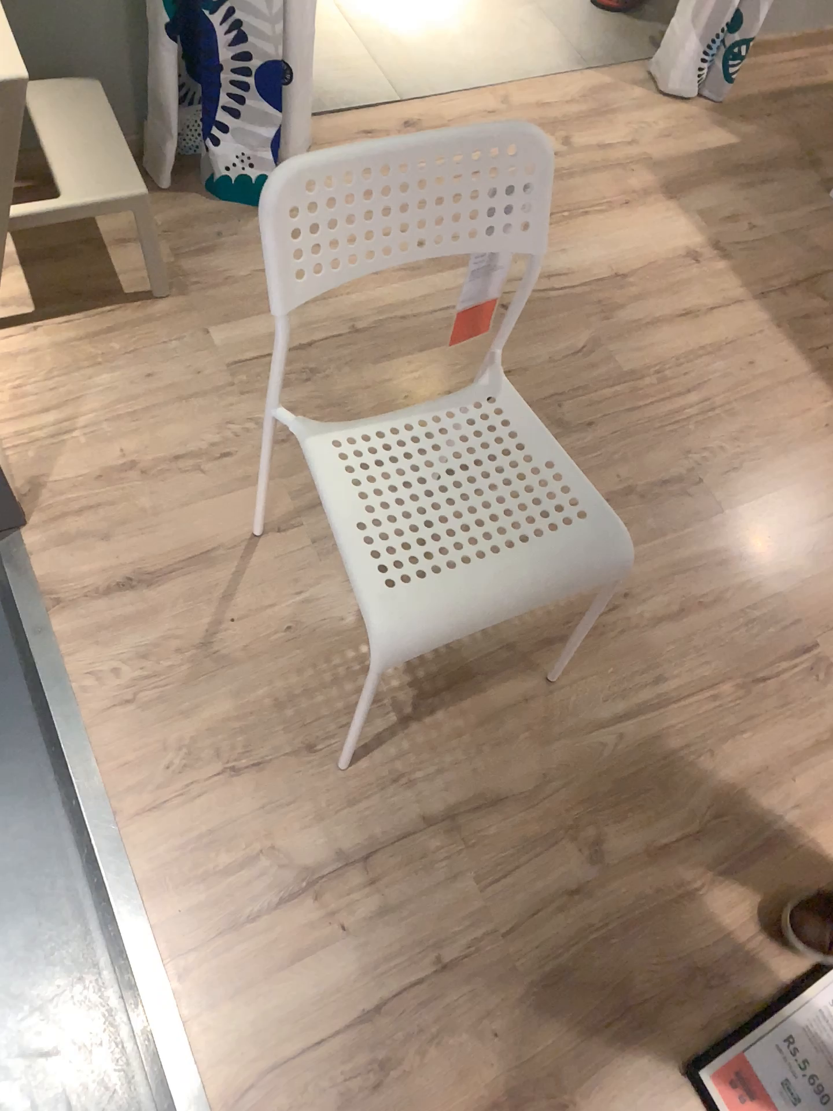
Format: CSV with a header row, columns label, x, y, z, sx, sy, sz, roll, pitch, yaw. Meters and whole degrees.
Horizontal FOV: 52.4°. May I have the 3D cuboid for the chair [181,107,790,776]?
label,x,y,z,sx,sy,sz,roll,pitch,yaw
chair,0.013,-0.113,1.122,0.430,0.609,0.530,-20,67,-20
